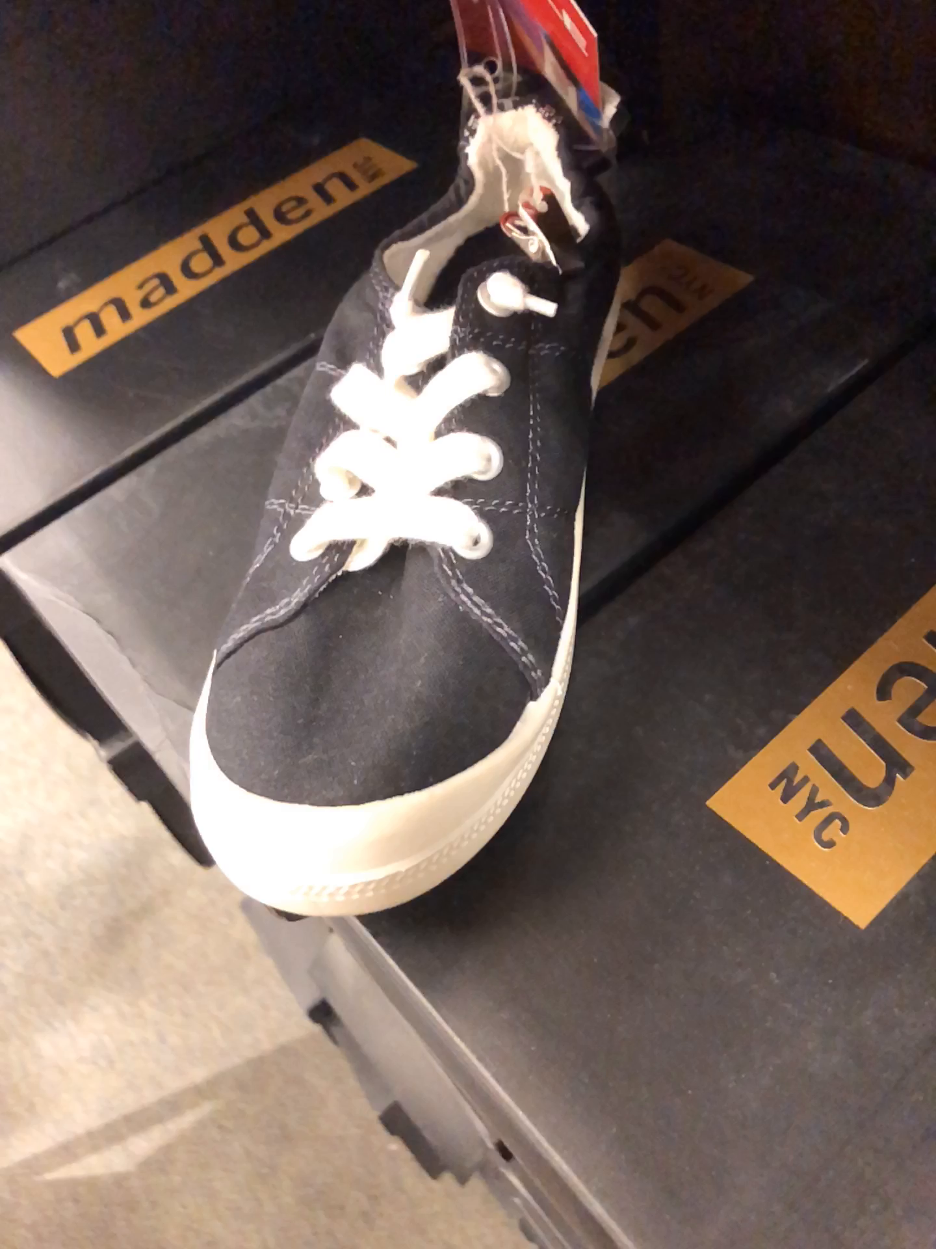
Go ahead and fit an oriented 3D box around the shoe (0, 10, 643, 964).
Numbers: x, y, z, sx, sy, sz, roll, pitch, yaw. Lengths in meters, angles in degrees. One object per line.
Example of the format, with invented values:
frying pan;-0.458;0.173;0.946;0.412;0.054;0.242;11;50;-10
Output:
shoe;-0.009;-0.052;0.256;0.080;0.082;0.235;2;52;14
